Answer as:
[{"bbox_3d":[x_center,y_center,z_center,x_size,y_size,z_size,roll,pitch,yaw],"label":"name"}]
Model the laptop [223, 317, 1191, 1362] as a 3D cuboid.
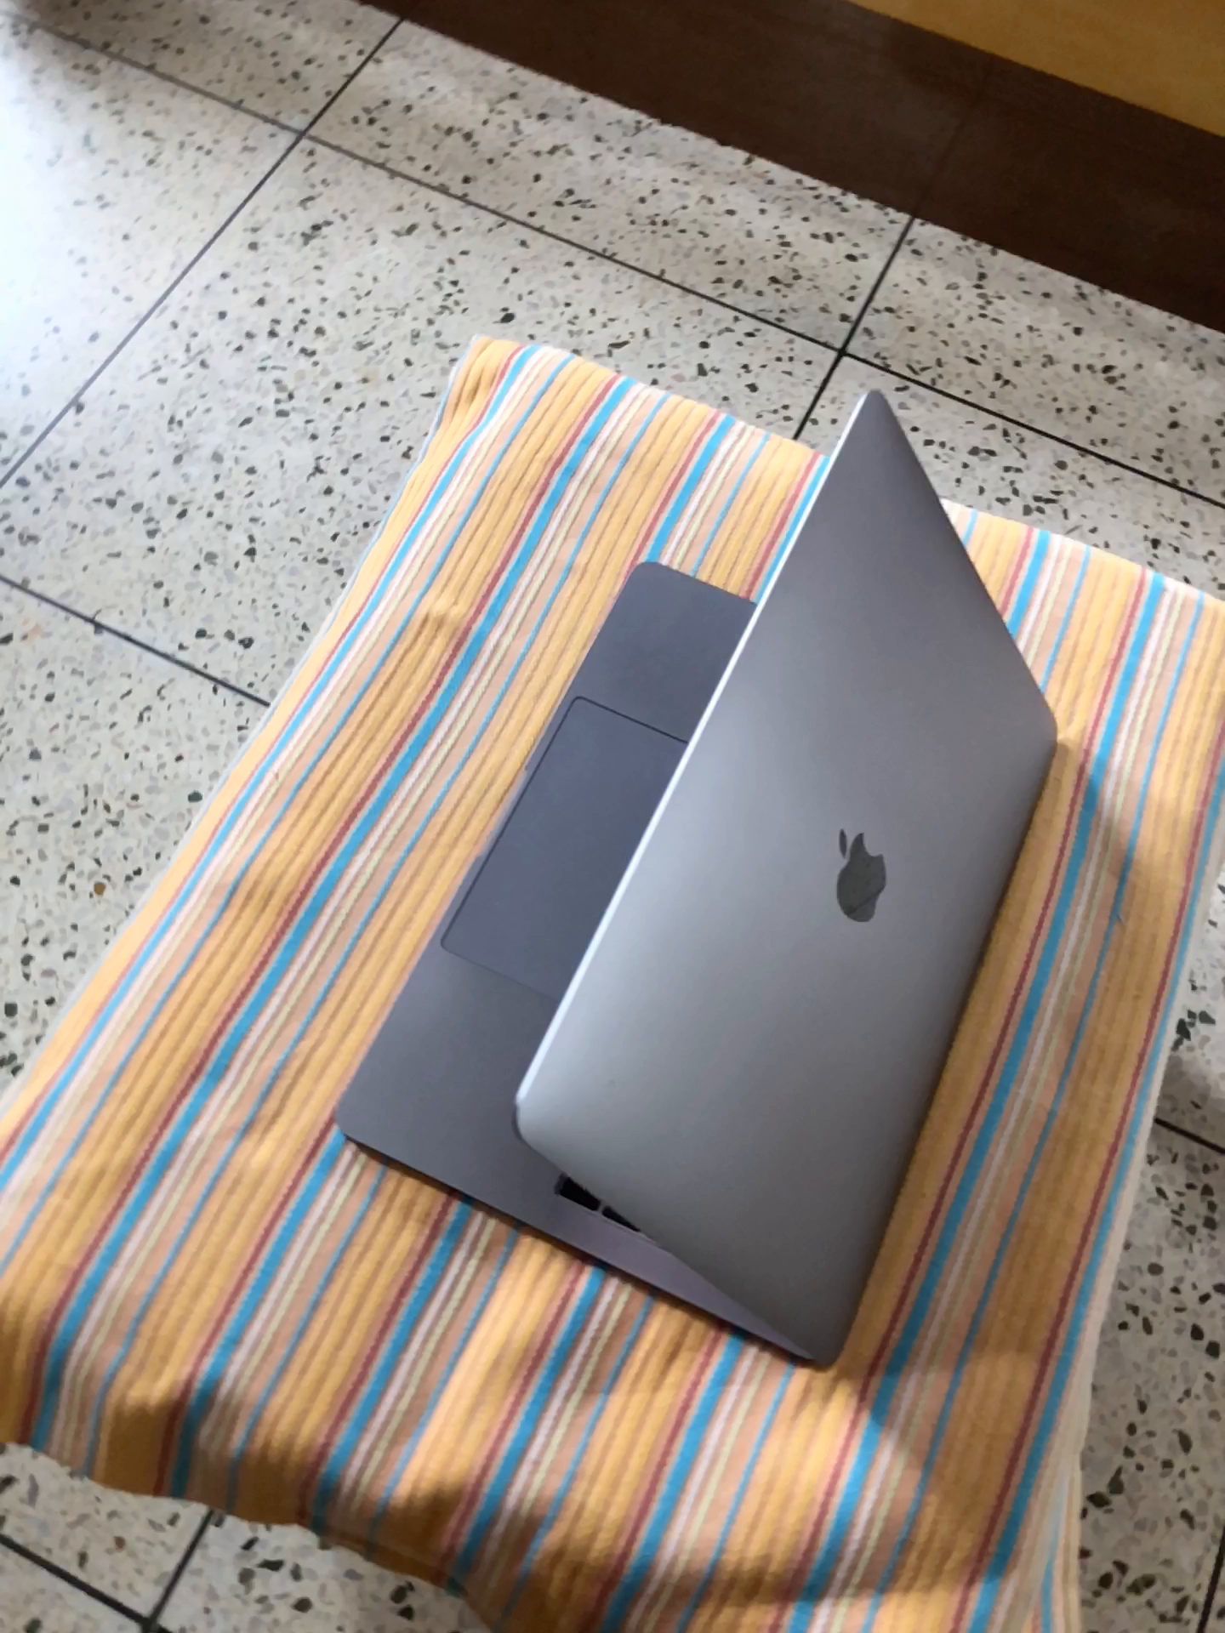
[{"bbox_3d":[0.042,0.008,0.498,0.203,0.160,0.295,25,66,8],"label":"laptop"}]
